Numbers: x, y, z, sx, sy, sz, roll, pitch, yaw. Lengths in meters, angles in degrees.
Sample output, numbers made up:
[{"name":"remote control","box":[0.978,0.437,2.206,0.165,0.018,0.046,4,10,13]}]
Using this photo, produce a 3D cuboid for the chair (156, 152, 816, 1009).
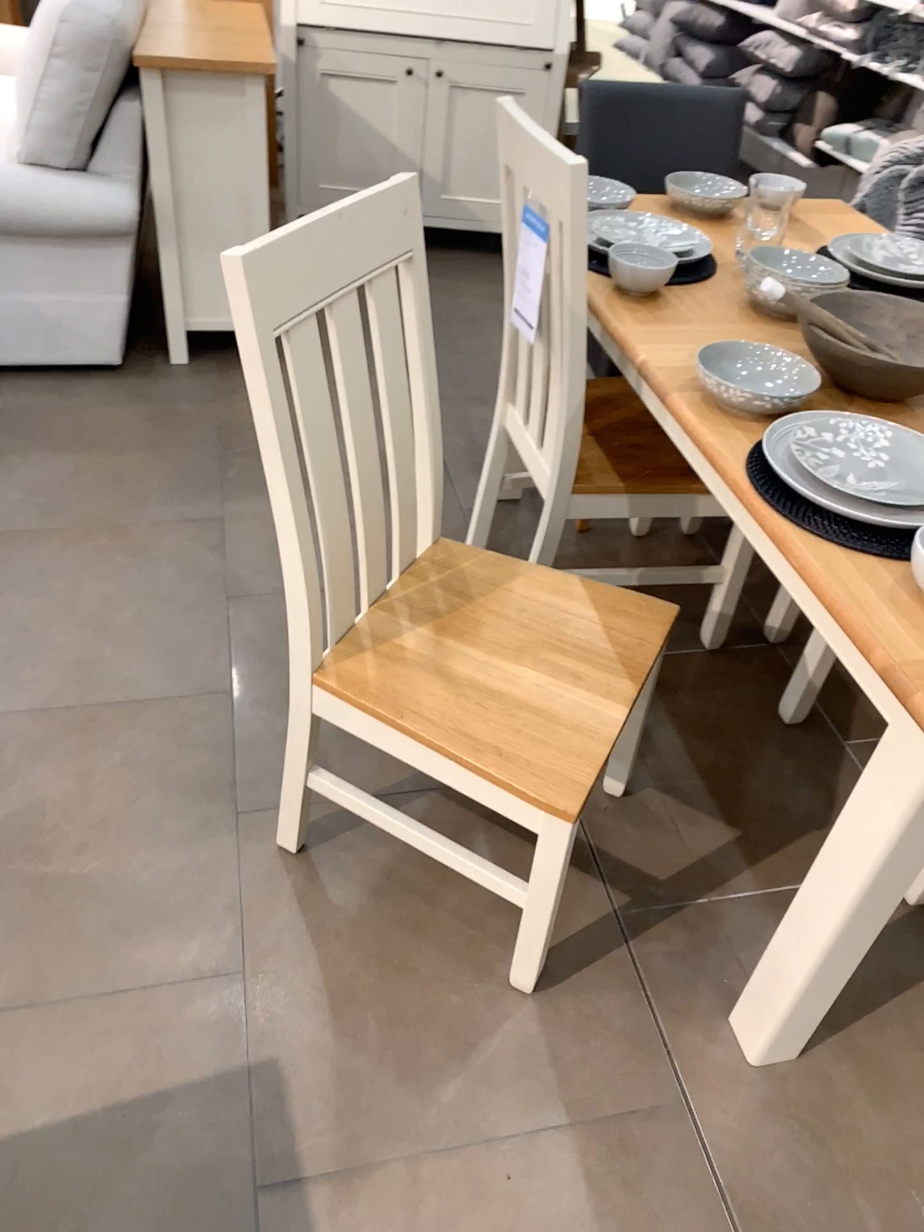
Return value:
[{"name":"chair","box":[0.018,-0.035,1.296,0.547,0.924,0.505,21,41,17]}]

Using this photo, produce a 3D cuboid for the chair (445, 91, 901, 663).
[{"name":"chair","box":[0.305,-0.425,1.820,0.536,0.924,0.476,-2,40,-11]}]
